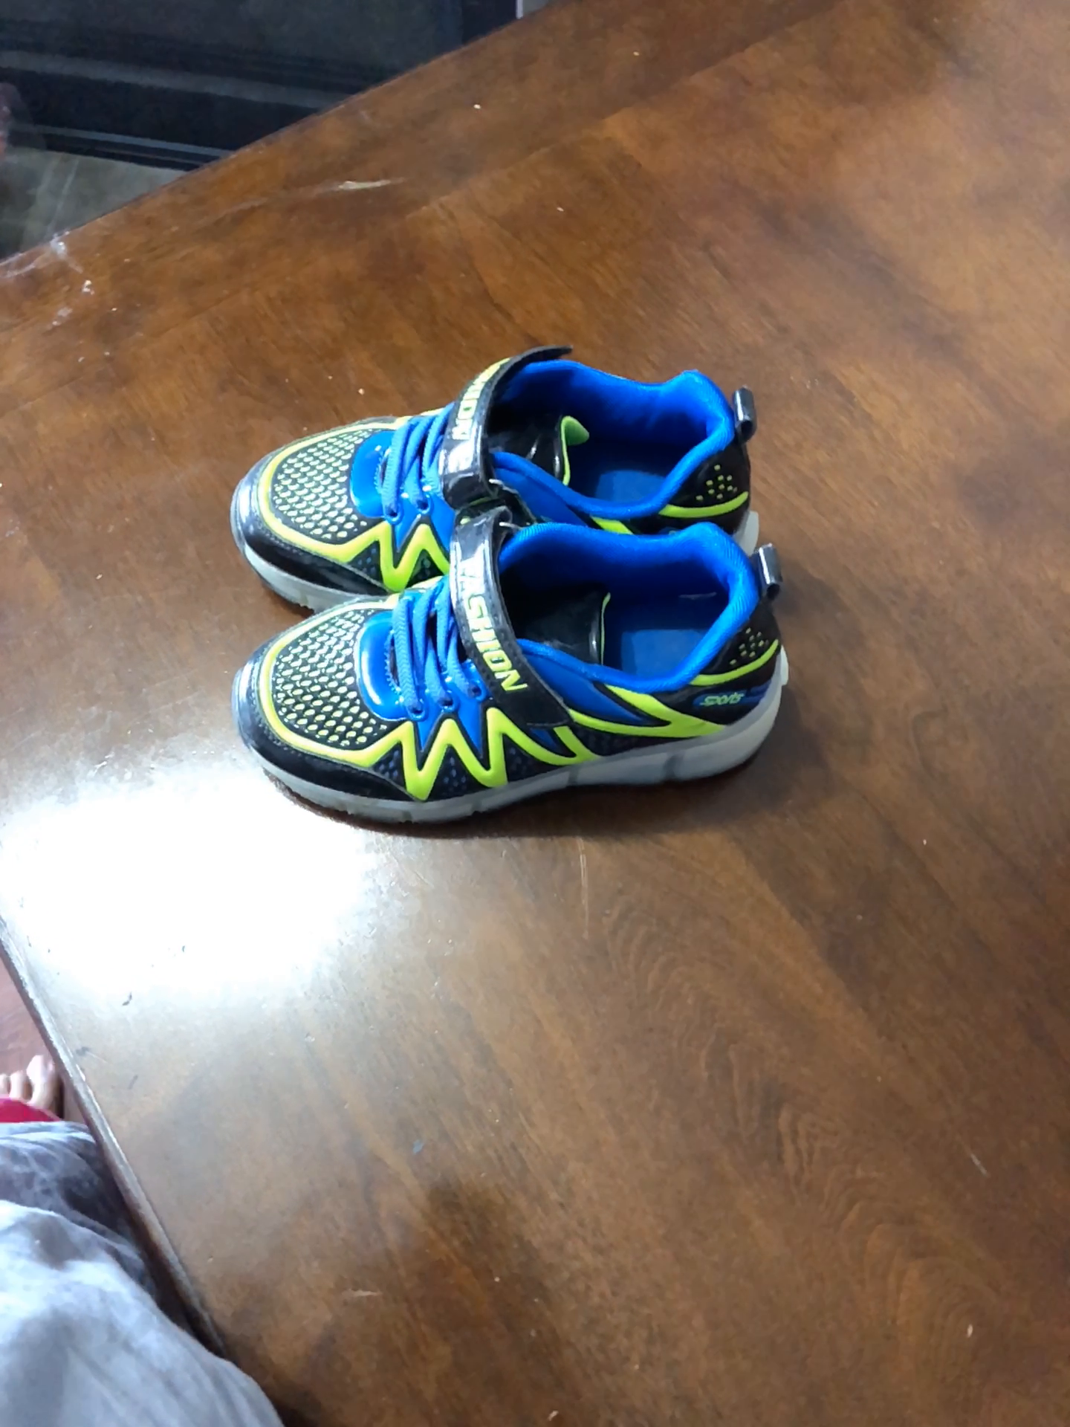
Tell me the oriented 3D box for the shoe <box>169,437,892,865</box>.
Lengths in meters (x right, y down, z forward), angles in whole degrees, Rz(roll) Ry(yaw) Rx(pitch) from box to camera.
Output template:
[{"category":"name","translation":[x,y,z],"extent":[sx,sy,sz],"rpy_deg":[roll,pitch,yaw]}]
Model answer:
[{"category":"shoe","translation":[-0.005,-0.018,0.451],"extent":[0.230,0.120,0.090],"rpy_deg":[-8,68,-4]}]

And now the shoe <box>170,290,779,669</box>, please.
[{"category":"shoe","translation":[-0.021,-0.089,0.483],"extent":[0.210,0.120,0.100],"rpy_deg":[0,68,-1]}]
